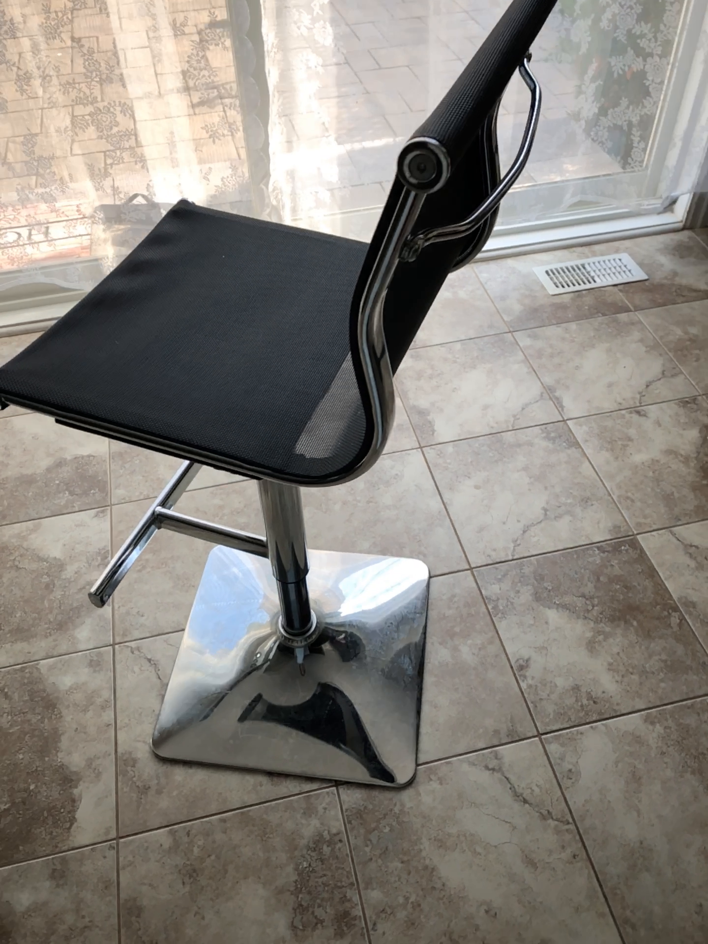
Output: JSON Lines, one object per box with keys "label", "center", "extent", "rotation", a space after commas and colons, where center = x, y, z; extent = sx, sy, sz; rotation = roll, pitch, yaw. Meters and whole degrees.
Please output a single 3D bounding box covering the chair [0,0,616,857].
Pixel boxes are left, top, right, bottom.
{"label": "chair", "center": [-0.112, -0.058, 0.968], "extent": [0.550, 0.977, 0.541], "rotation": [16, 50, 16]}
